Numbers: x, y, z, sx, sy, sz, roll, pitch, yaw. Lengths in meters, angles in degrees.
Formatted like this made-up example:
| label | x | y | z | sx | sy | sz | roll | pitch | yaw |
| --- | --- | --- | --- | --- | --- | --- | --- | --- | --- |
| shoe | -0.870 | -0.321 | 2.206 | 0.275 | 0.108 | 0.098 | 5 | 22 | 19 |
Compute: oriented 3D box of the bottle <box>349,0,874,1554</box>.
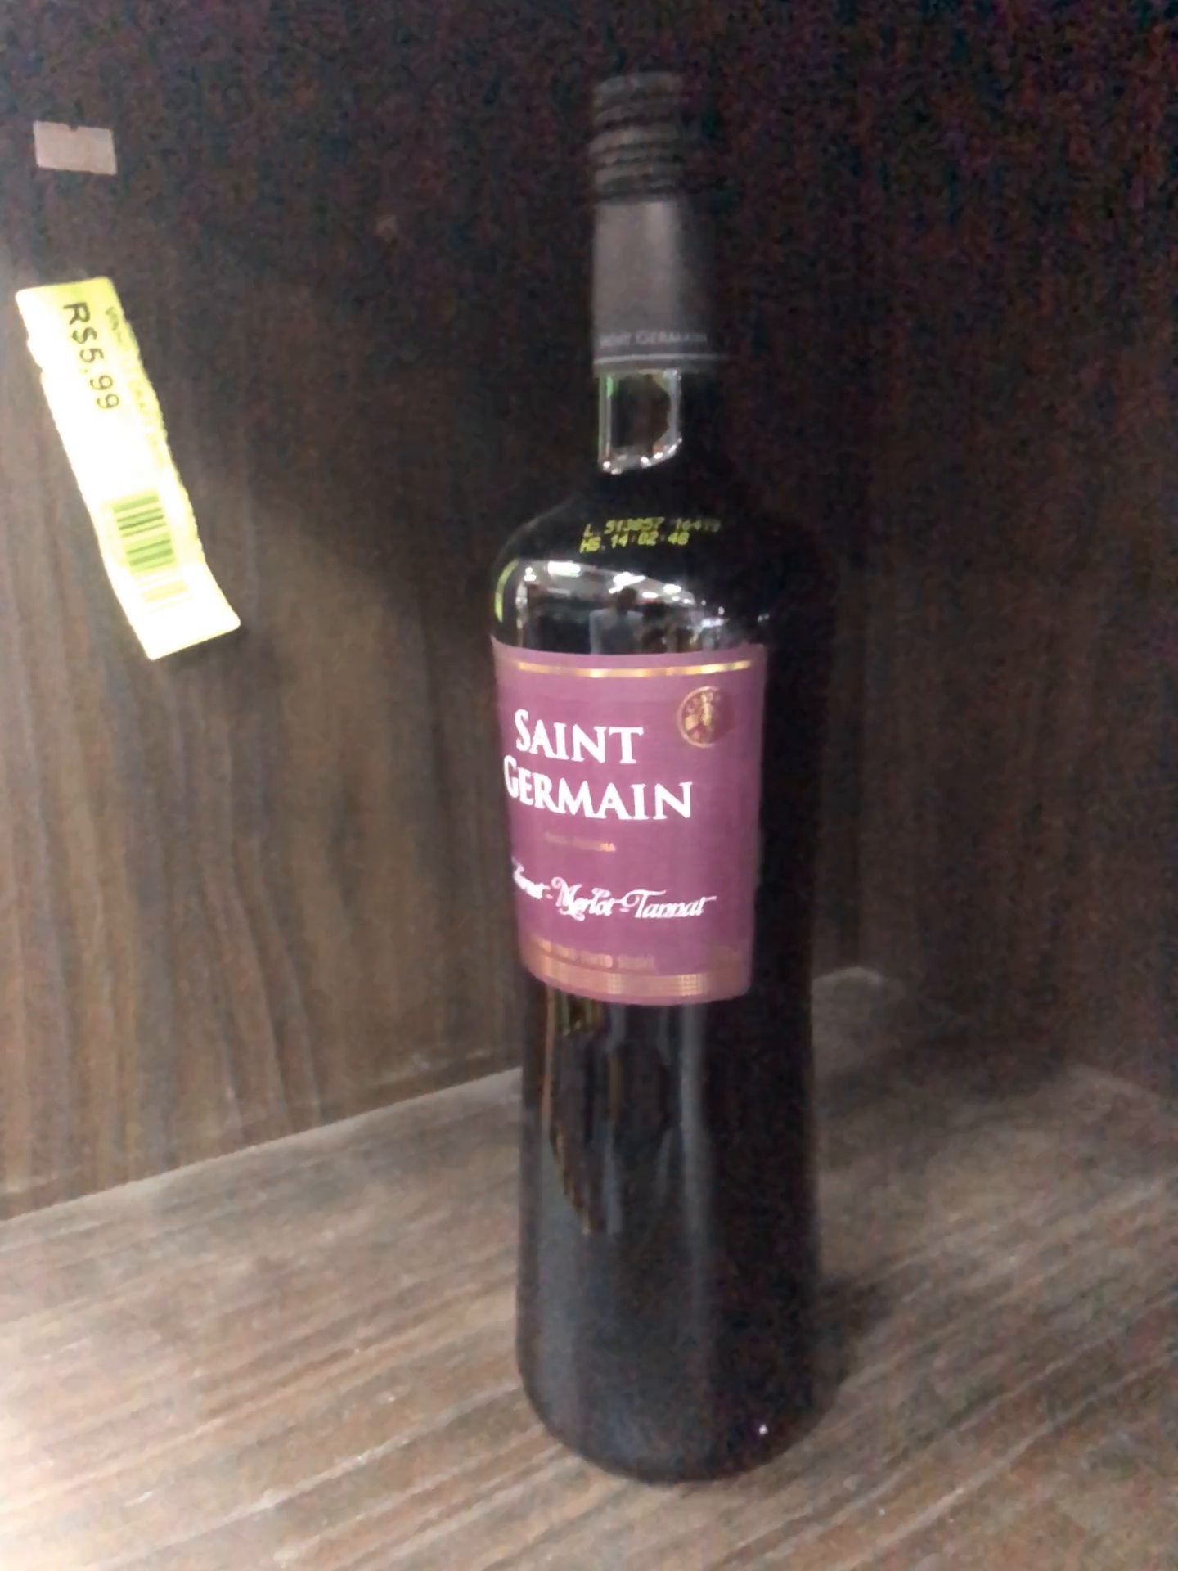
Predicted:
| label | x | y | z | sx | sy | sz | roll | pitch | yaw |
| --- | --- | --- | --- | --- | --- | --- | --- | --- | --- |
| bottle | 0.012 | 0.001 | 0.292 | 0.080 | 0.309 | 0.070 | 5 | 15 | 27 |
